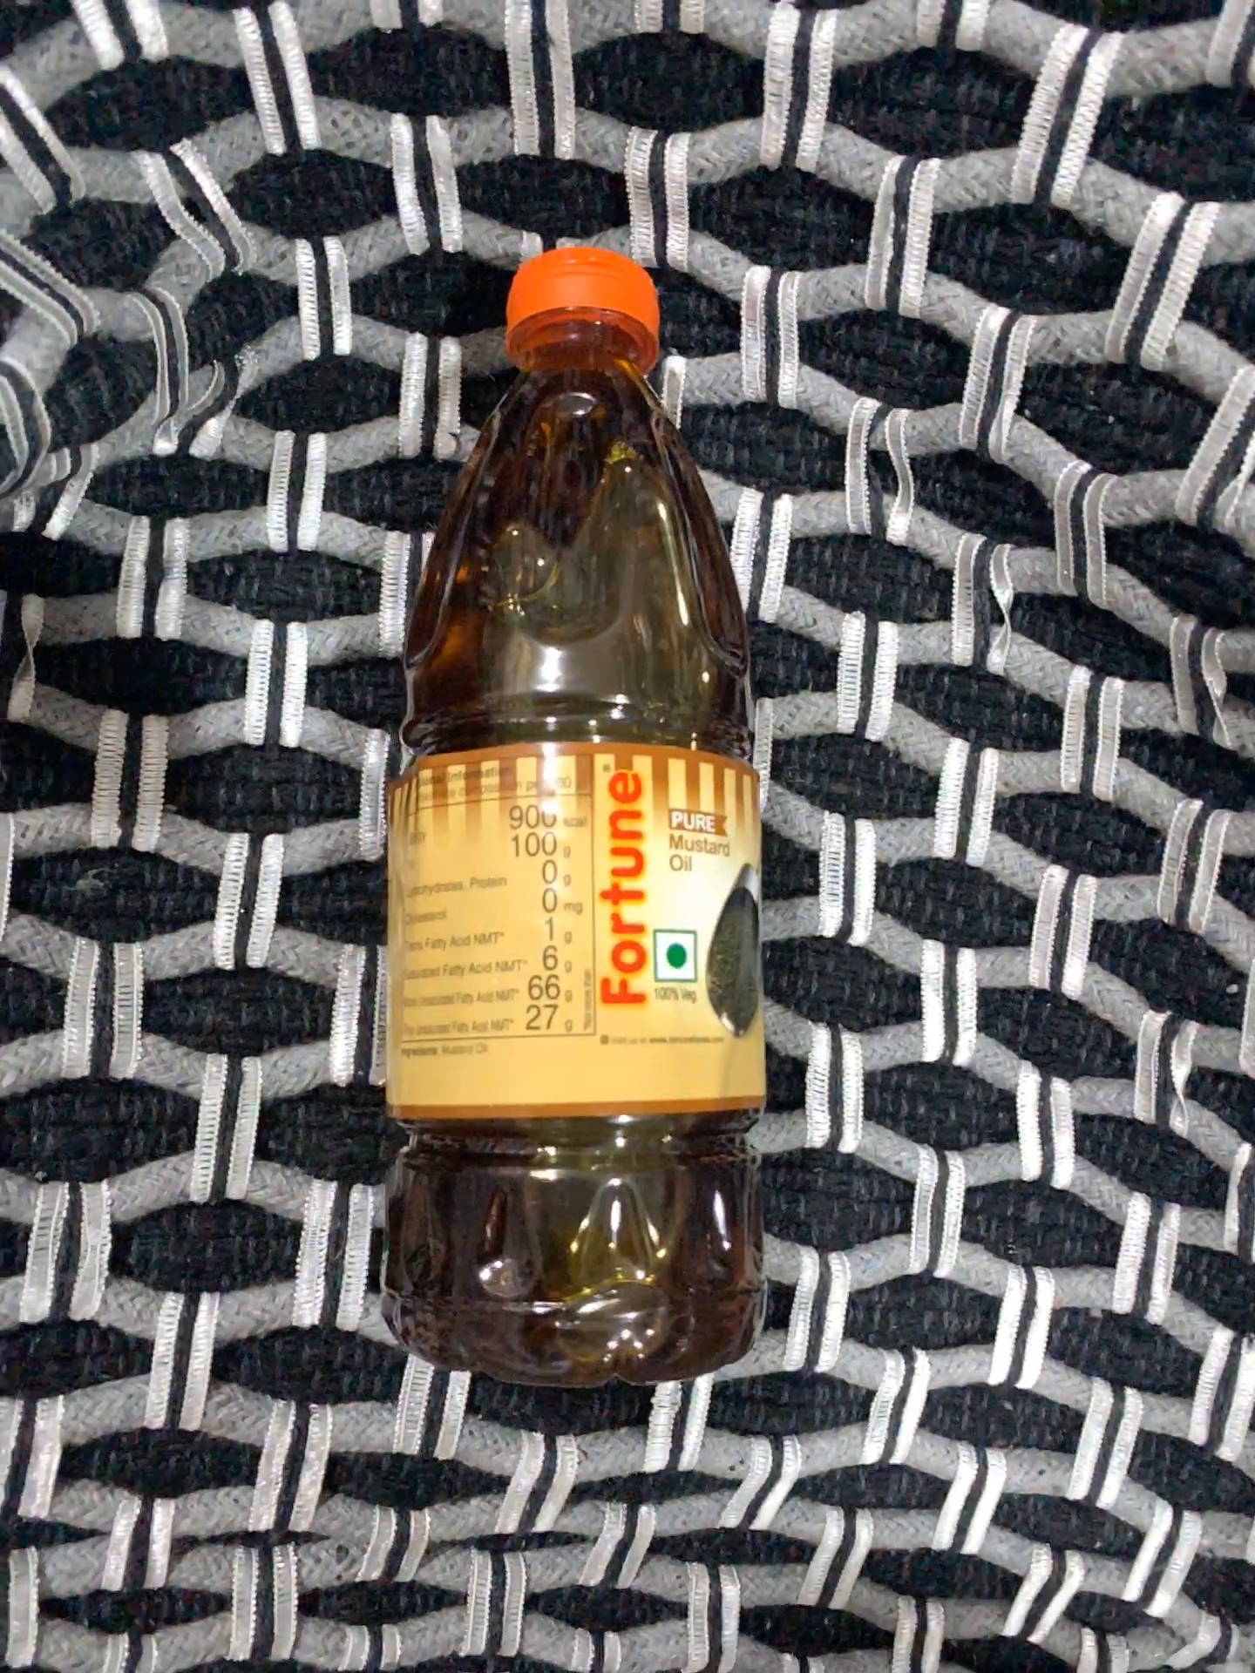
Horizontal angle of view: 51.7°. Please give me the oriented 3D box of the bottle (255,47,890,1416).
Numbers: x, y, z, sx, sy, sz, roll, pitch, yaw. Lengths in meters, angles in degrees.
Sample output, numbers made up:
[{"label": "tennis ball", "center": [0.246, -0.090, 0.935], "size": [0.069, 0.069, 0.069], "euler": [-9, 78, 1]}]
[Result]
[{"label": "bottle", "center": [-0.009, -0.016, 0.252], "size": [0.080, 0.080, 0.220], "euler": [-10, 75, 32]}]
